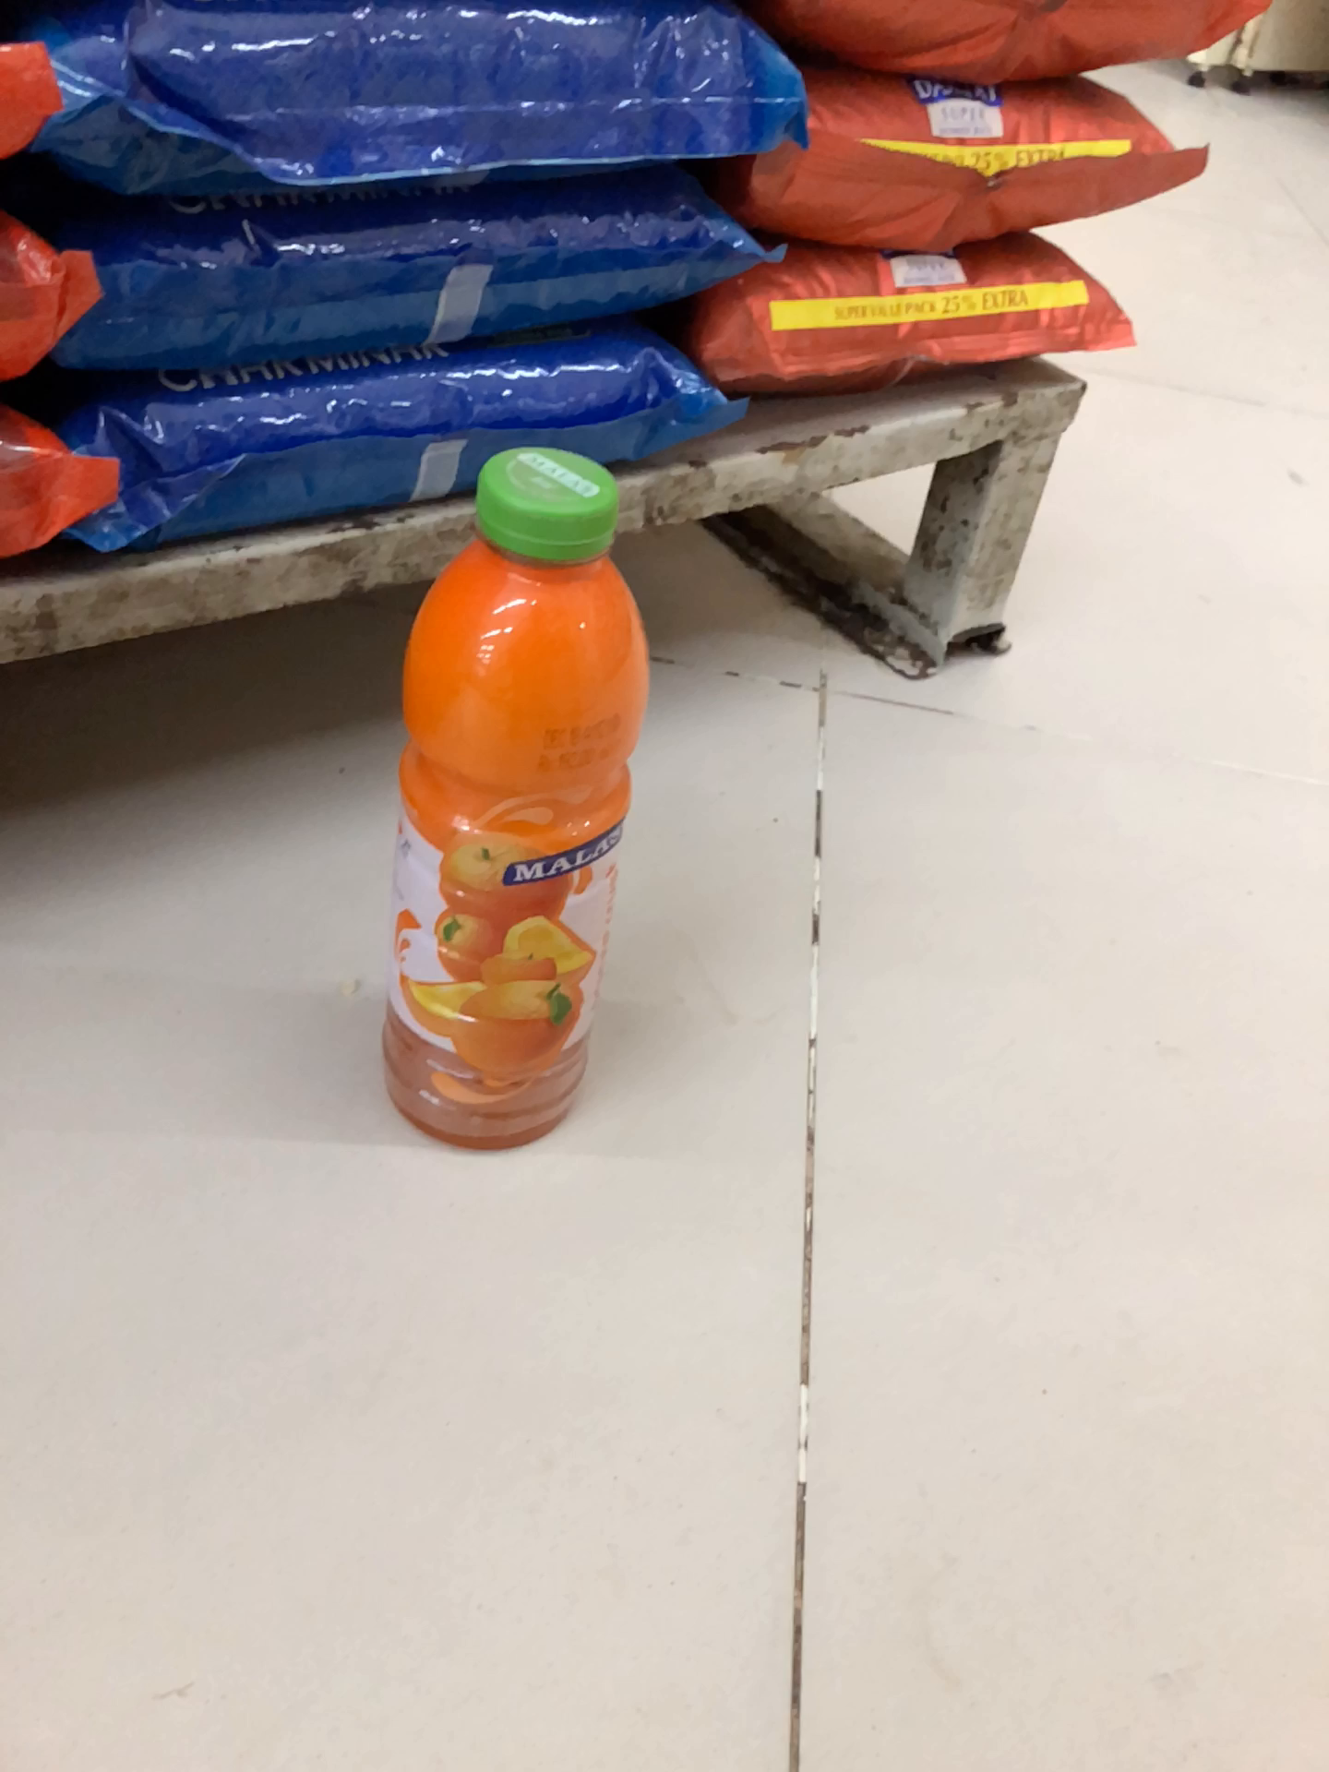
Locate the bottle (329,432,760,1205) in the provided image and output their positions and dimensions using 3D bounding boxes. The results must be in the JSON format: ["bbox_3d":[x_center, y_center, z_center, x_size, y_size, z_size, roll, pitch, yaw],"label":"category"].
[{"bbox_3d":[-0.052,-0.015,0.483,0.090,0.238,0.090,7,40,-6],"label":"bottle"}]
